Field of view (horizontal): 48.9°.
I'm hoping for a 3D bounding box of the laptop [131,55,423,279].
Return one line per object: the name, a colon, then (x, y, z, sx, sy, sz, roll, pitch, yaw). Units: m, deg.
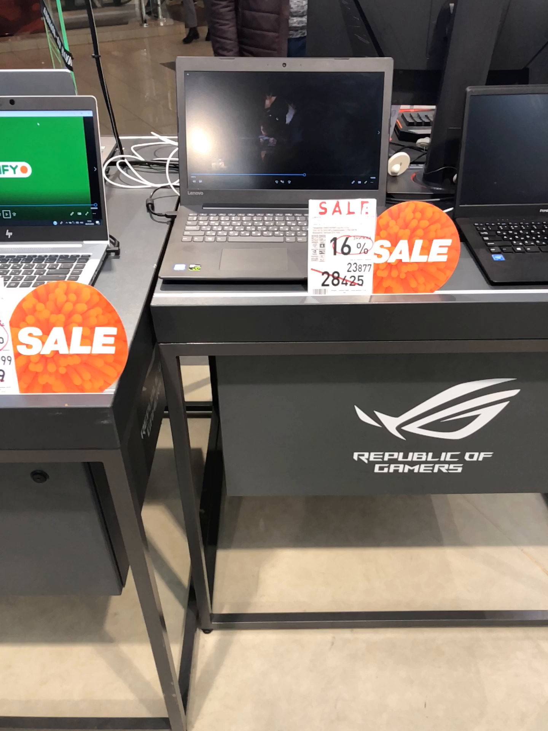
laptop: (0.008, -0.336, 0.989, 0.382, 0.235, 0.336, 1, 39, 1)
